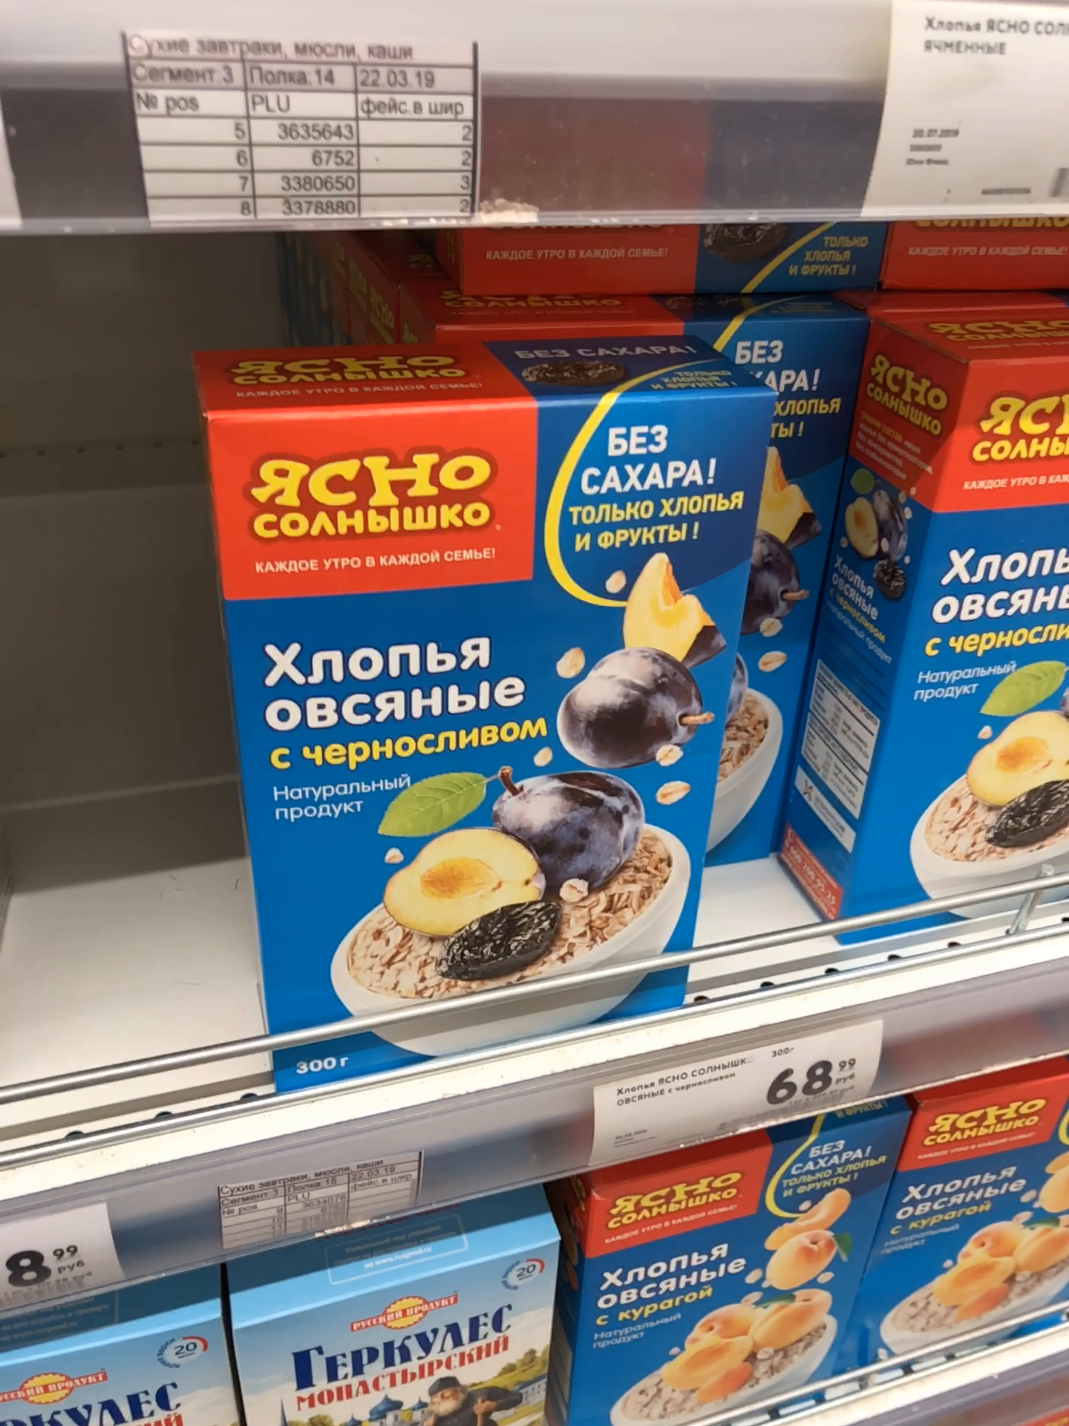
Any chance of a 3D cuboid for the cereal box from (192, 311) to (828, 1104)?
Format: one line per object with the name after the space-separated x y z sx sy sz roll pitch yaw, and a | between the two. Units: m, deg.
-0.010 0.004 0.331 0.140 0.209 0.050 -7 33 -15 | cereal box
